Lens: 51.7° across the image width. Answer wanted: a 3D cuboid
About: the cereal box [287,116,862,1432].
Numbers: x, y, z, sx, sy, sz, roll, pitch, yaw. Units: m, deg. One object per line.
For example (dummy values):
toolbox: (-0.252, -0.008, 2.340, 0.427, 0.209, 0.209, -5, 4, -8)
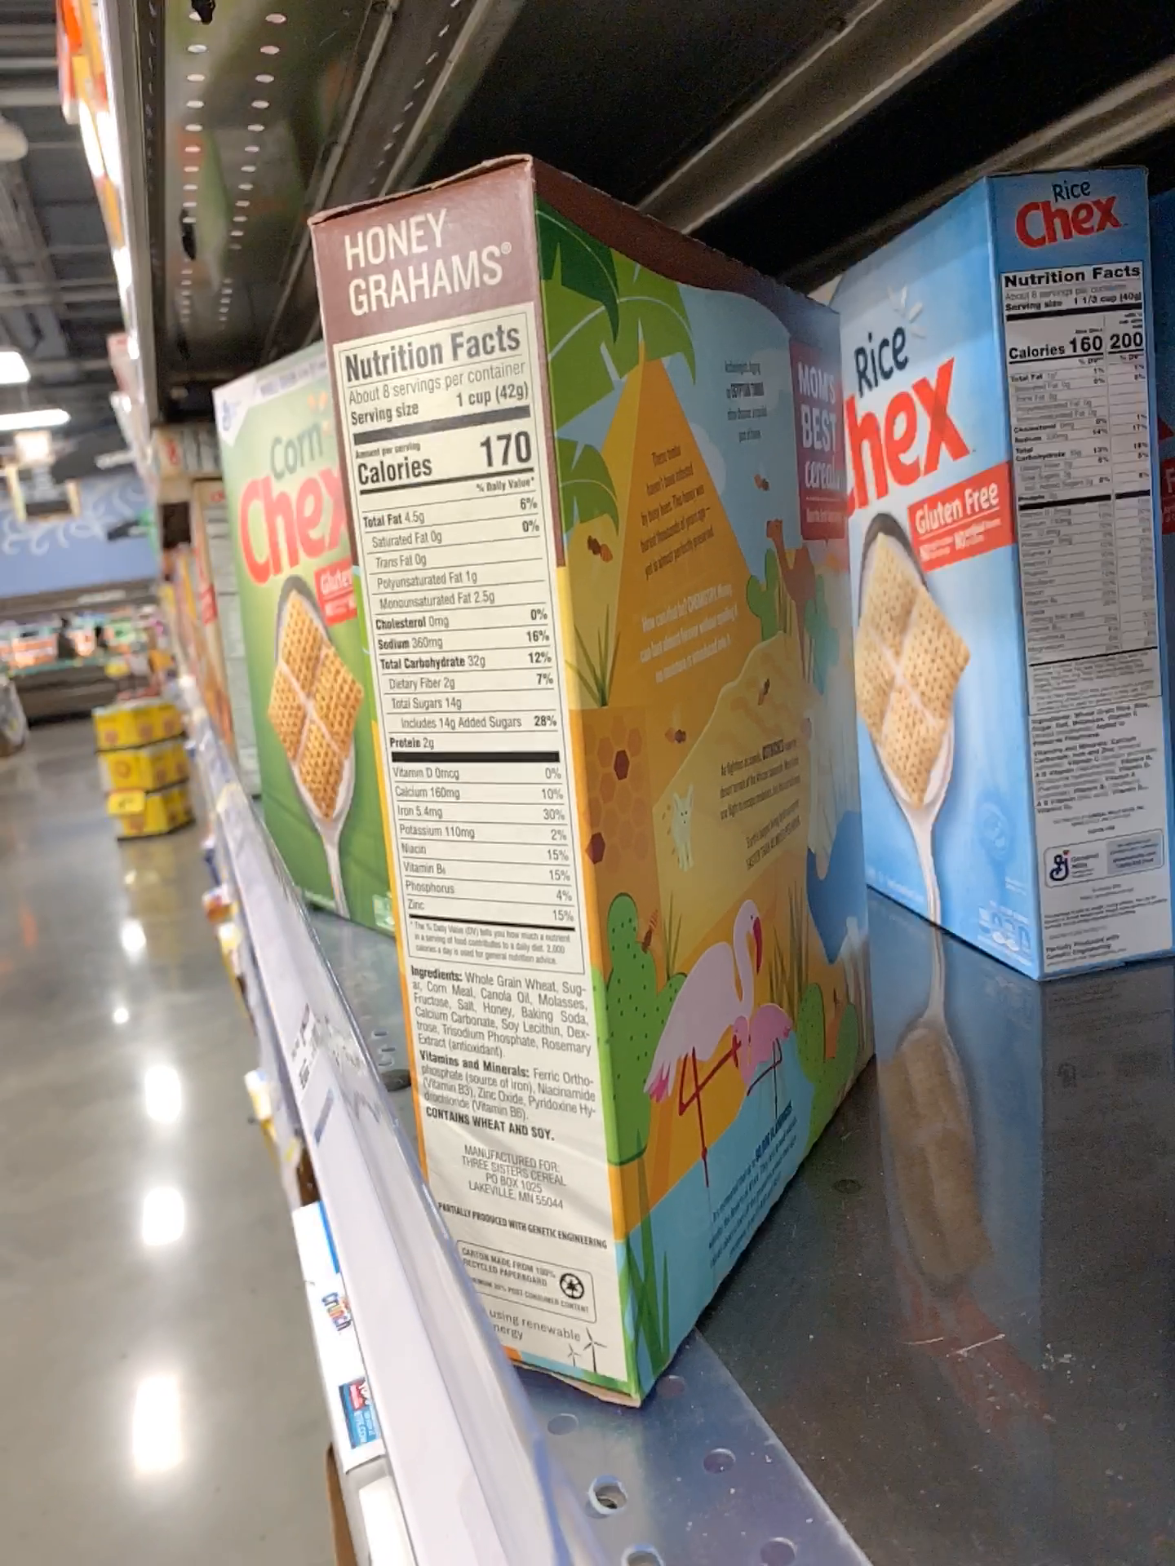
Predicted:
cereal box: (0.019, -0.010, 0.334, 0.050, 0.259, 0.200, 0, 11, 28)
